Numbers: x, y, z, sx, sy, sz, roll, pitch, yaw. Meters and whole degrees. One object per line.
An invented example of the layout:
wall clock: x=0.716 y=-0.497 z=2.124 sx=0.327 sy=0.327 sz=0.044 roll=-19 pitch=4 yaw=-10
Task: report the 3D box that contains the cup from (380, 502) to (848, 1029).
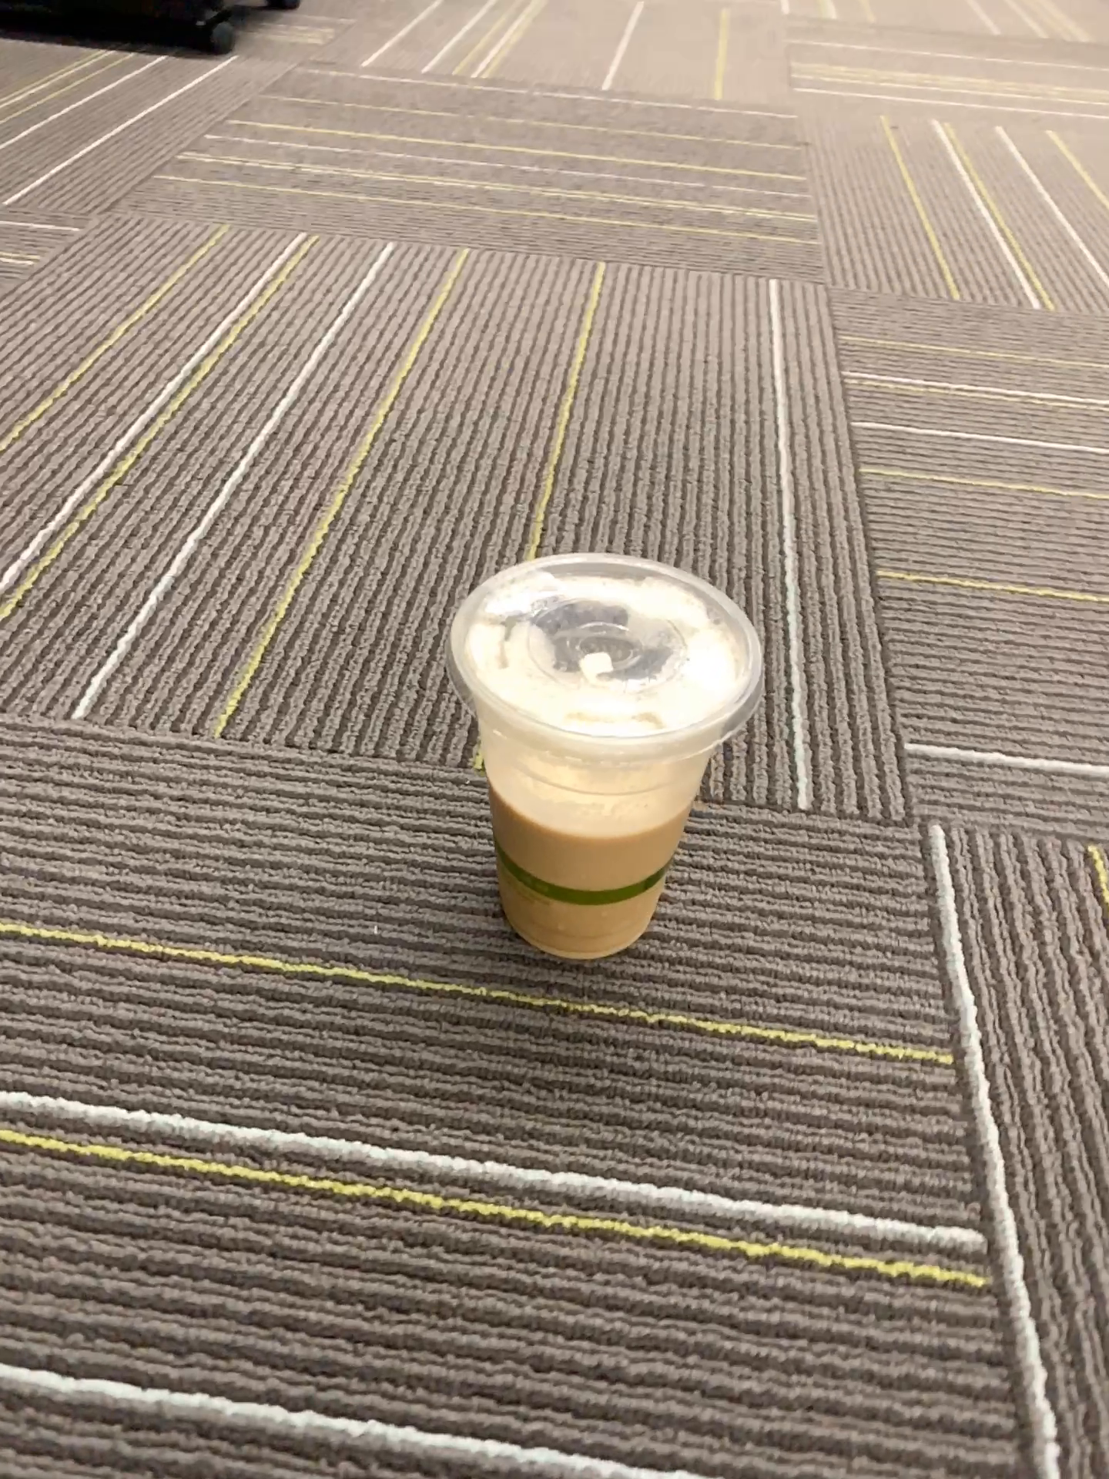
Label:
cup: x=0.014 y=0.005 z=0.377 sx=0.100 sy=0.109 sz=0.100 roll=2 pitch=41 yaw=-2
